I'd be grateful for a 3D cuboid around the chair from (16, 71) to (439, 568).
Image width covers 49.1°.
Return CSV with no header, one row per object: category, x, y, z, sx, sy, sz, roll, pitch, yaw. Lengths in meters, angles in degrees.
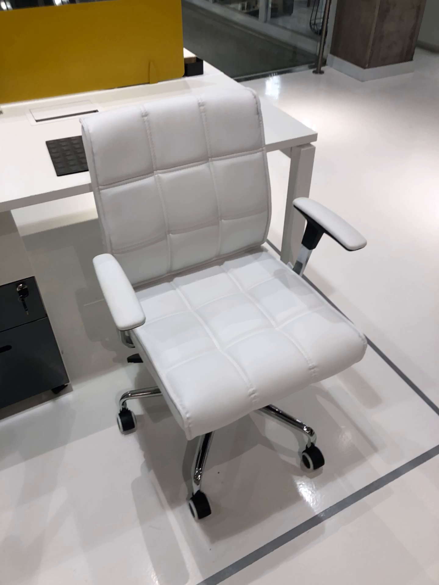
chair,0.012,0.045,1.209,0.651,0.883,0.633,-20,45,-22
